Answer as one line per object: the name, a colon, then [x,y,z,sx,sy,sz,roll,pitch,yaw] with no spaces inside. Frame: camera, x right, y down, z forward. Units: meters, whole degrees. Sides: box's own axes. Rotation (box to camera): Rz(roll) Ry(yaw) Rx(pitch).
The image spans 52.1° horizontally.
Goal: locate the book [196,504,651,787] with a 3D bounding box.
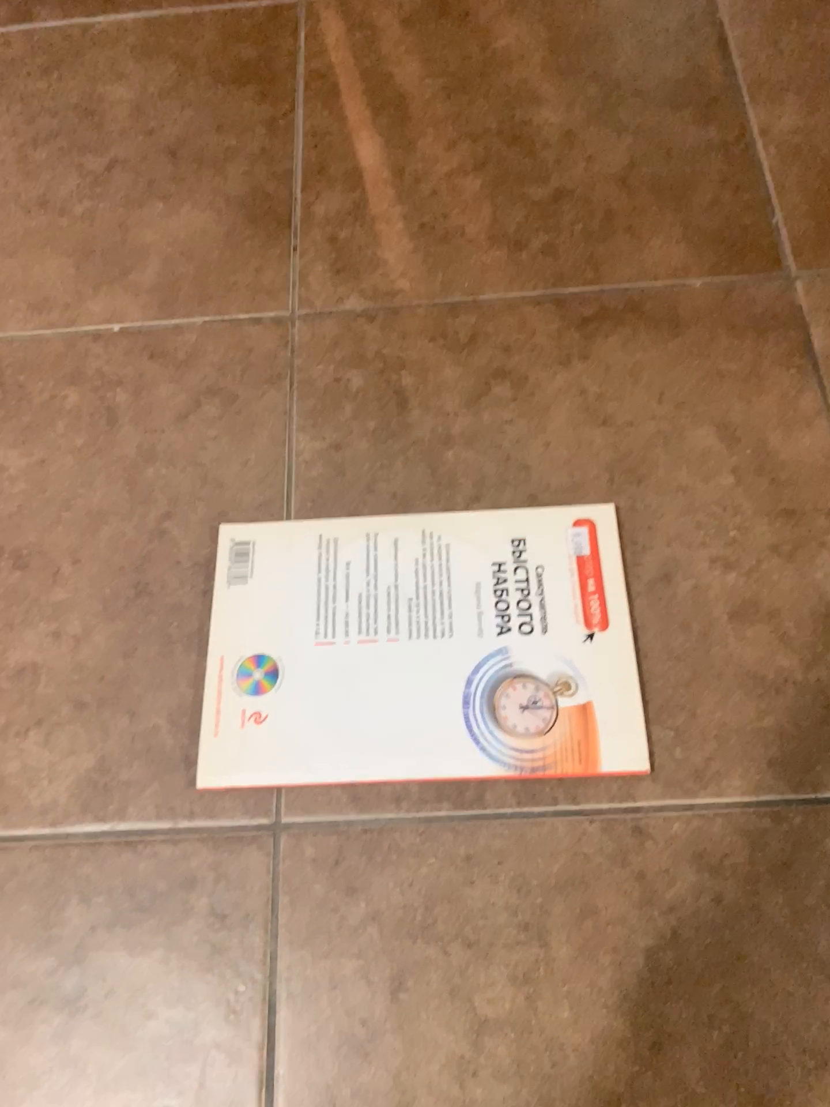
book: [0.001,0.043,0.422,0.210,0.009,0.134,-3,66,4]
